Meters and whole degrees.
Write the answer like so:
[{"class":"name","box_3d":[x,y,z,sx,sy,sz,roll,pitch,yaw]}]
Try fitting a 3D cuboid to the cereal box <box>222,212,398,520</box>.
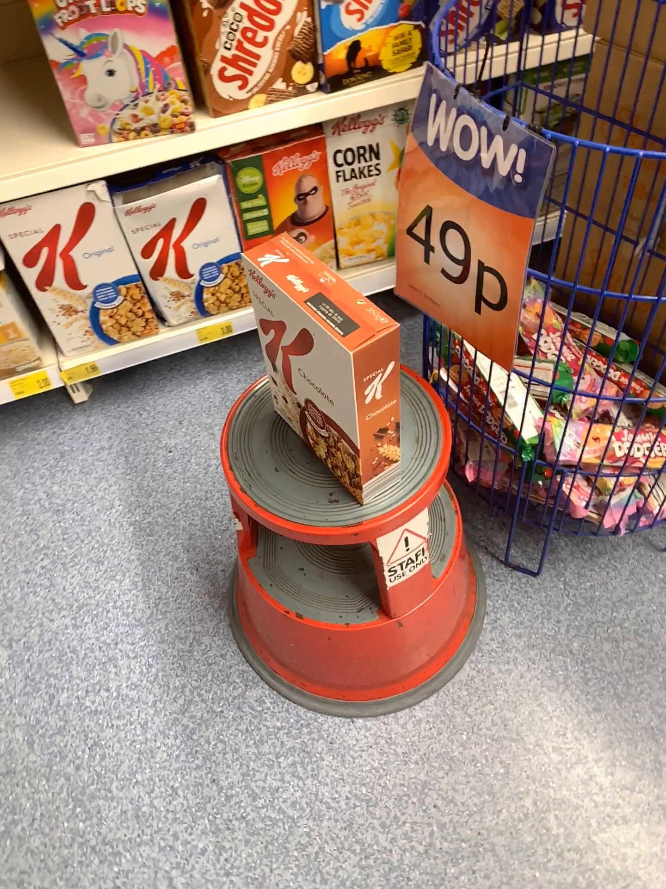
[{"class":"cereal box","box_3d":[-0.018,-0.078,0.738,0.060,0.268,0.211,-30,54,-18]}]
